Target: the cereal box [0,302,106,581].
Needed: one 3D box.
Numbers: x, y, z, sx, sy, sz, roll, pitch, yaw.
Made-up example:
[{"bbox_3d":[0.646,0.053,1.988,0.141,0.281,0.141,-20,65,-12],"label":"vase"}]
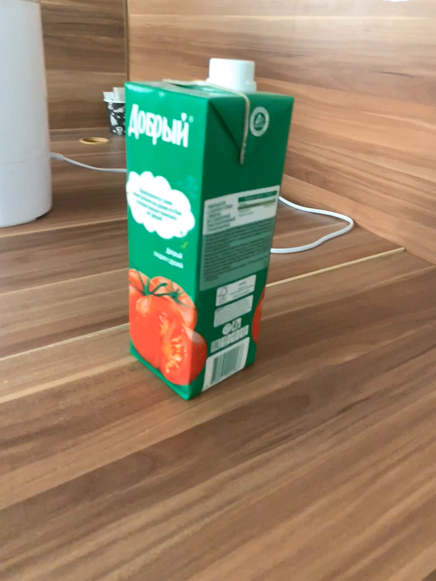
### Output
[{"bbox_3d":[-0.521,0.574,0.316,0.590,0.836,0.613,12,30,13],"label":"cereal box"}]
